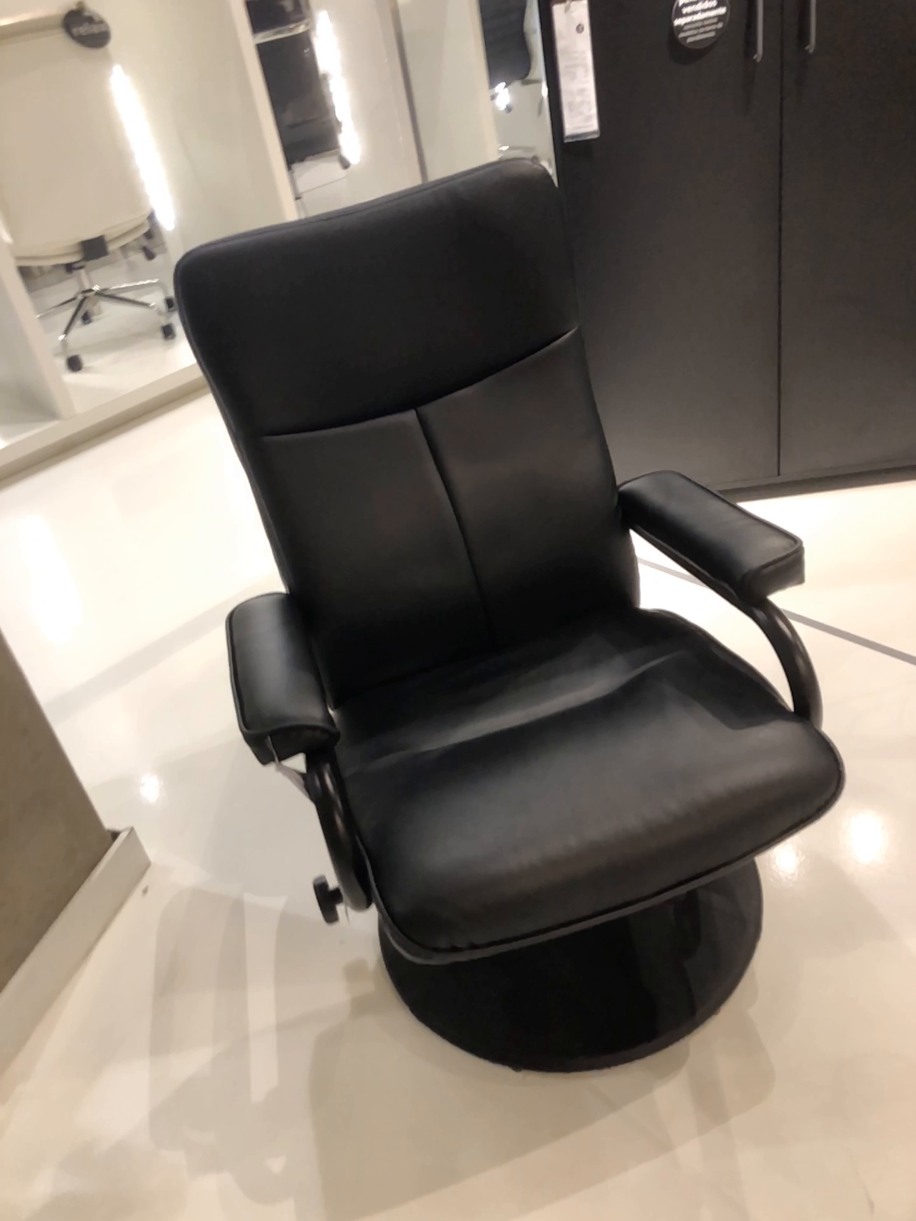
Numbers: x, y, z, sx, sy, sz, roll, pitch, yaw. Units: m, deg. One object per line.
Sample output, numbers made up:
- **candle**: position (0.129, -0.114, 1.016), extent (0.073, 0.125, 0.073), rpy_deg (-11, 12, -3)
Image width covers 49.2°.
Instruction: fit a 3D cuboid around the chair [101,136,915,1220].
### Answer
- **chair**: position (0.071, 0.046, 1.283), extent (0.690, 0.992, 0.735), rpy_deg (-18, 34, -9)
